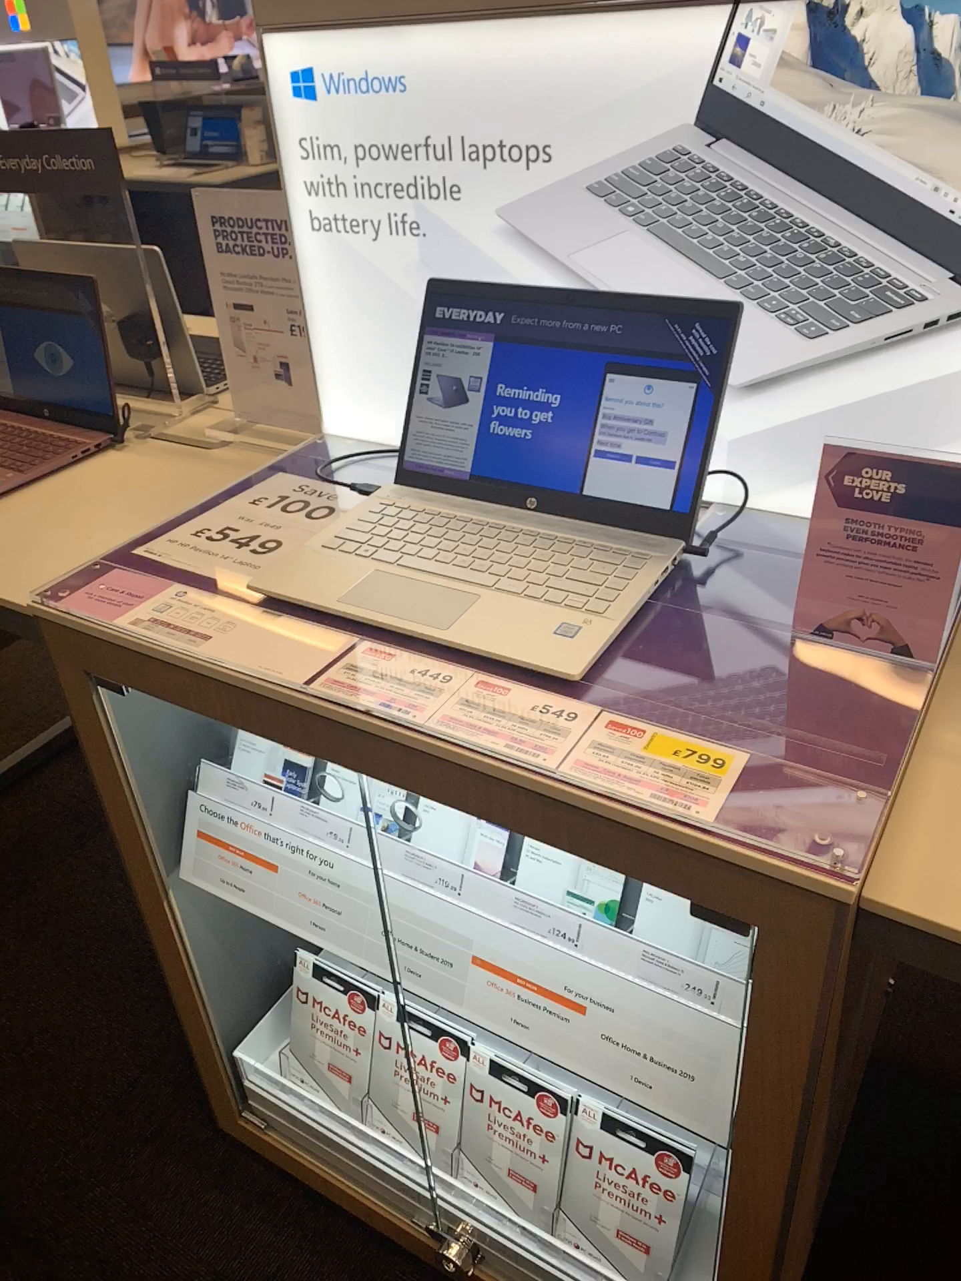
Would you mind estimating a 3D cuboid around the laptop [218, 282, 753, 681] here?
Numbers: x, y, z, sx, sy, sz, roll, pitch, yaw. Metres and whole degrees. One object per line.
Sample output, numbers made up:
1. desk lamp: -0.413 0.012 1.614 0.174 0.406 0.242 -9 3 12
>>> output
1. laptop: 0.019 -0.164 0.841 0.313 0.171 0.324 15 39 28
